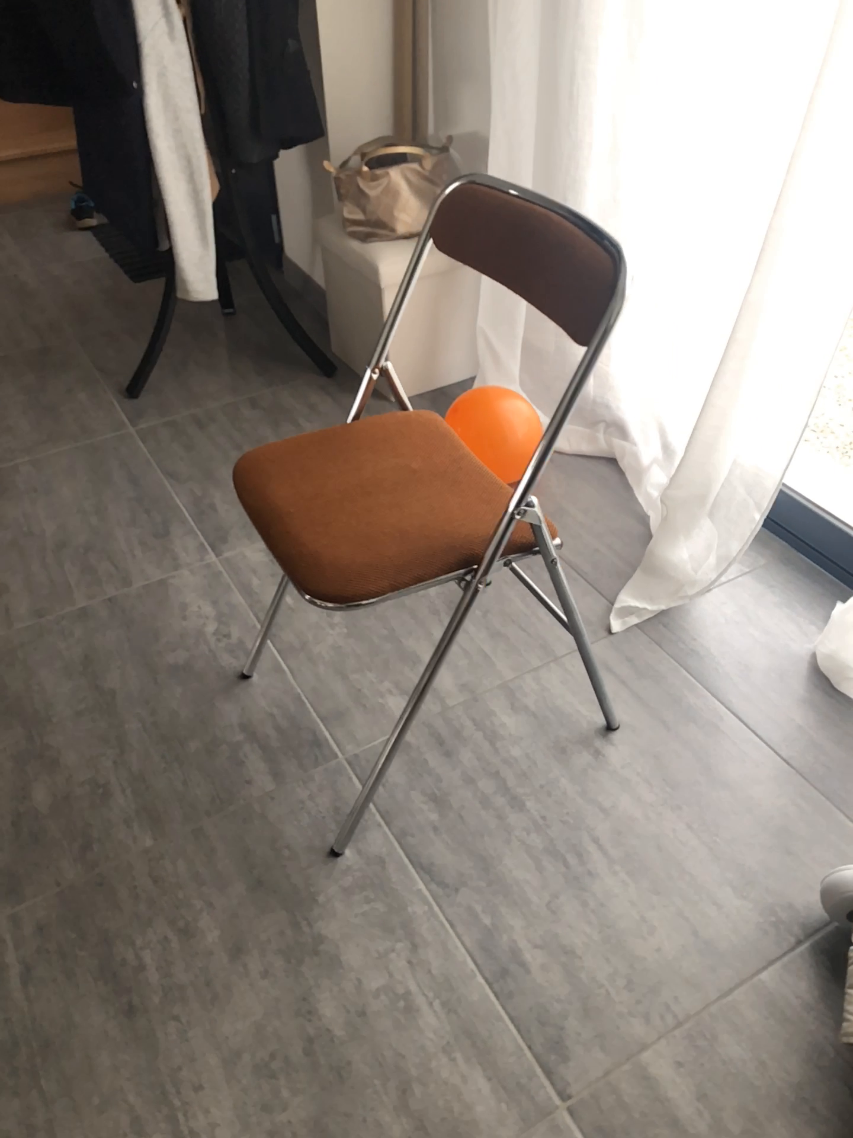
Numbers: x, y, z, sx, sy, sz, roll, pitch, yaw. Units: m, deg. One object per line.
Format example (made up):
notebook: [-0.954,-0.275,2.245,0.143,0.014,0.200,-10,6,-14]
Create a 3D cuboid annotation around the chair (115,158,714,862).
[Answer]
chair: [-0.029,-0.097,1.331,0.551,0.736,0.482,-19,42,-20]
